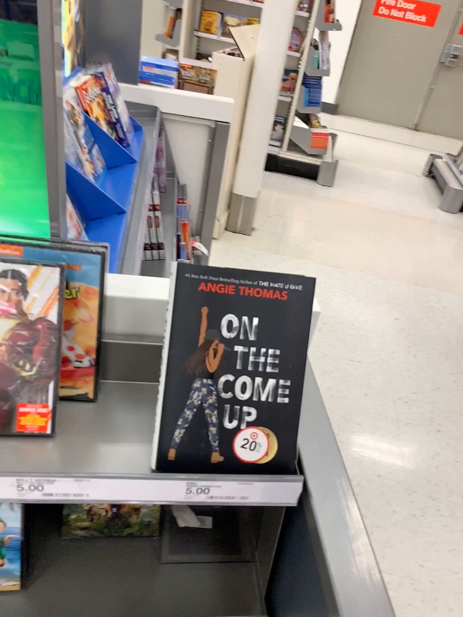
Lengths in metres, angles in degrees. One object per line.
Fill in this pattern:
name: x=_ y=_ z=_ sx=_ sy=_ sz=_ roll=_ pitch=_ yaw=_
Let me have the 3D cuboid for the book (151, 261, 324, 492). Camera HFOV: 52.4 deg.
book: x=0.003 y=0.069 z=0.495 sx=0.149 sy=0.222 sz=0.056 roll=6 pitch=4 yaw=-8
